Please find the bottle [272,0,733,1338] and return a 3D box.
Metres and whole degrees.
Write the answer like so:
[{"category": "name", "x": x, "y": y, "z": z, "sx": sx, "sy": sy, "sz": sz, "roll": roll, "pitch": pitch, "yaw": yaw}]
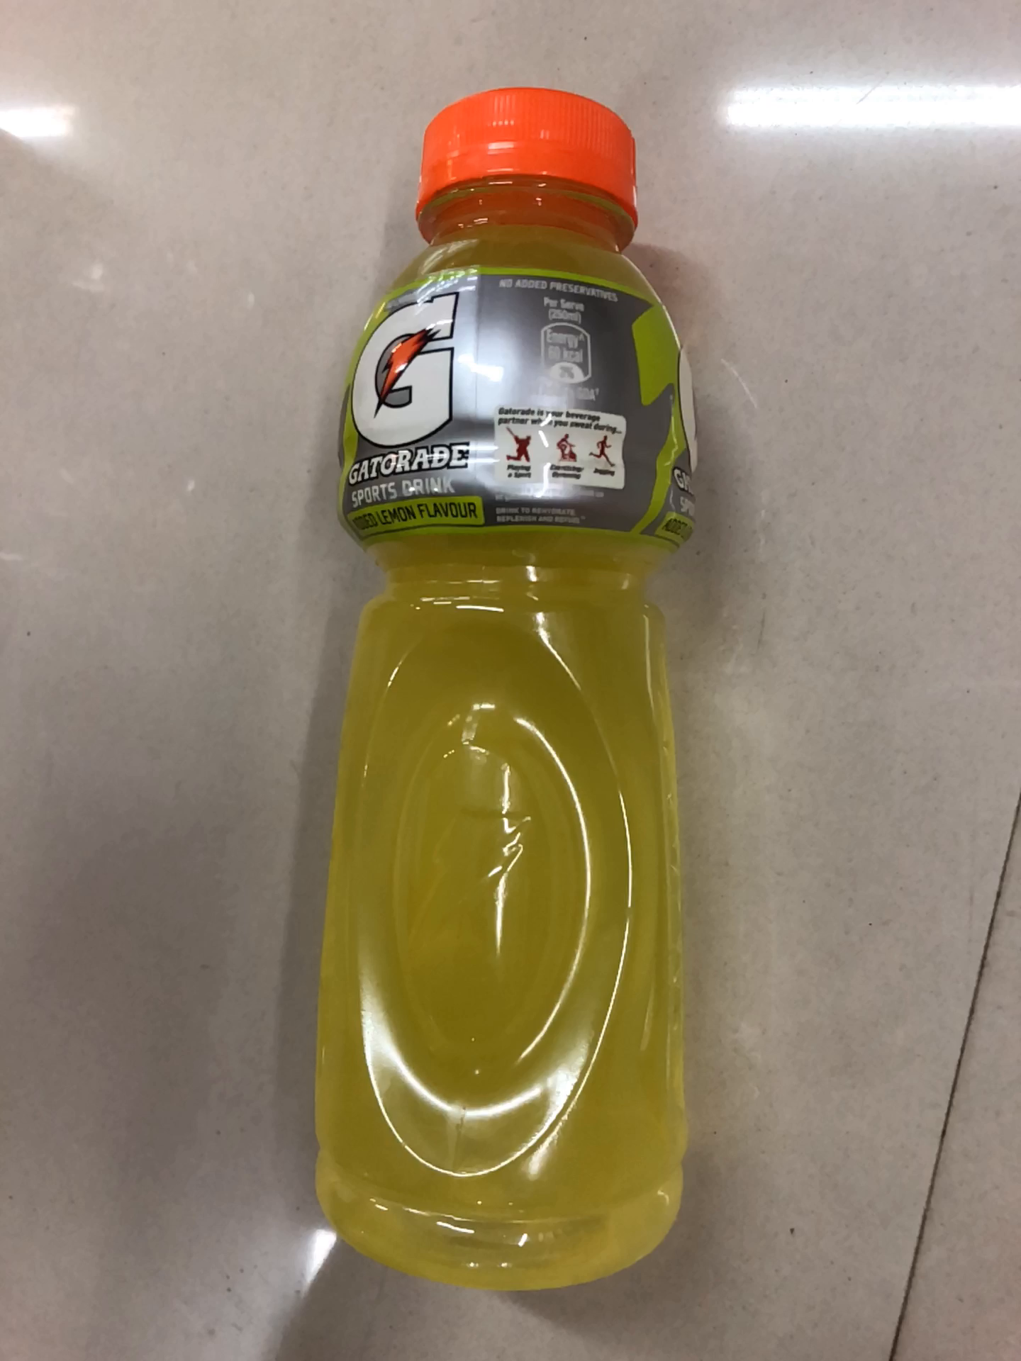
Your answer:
[{"category": "bottle", "x": 0.001, "y": -0.009, "z": 0.226, "sx": 0.070, "sy": 0.060, "sz": 0.230, "roll": 1, "pitch": 92, "yaw": 26}]
